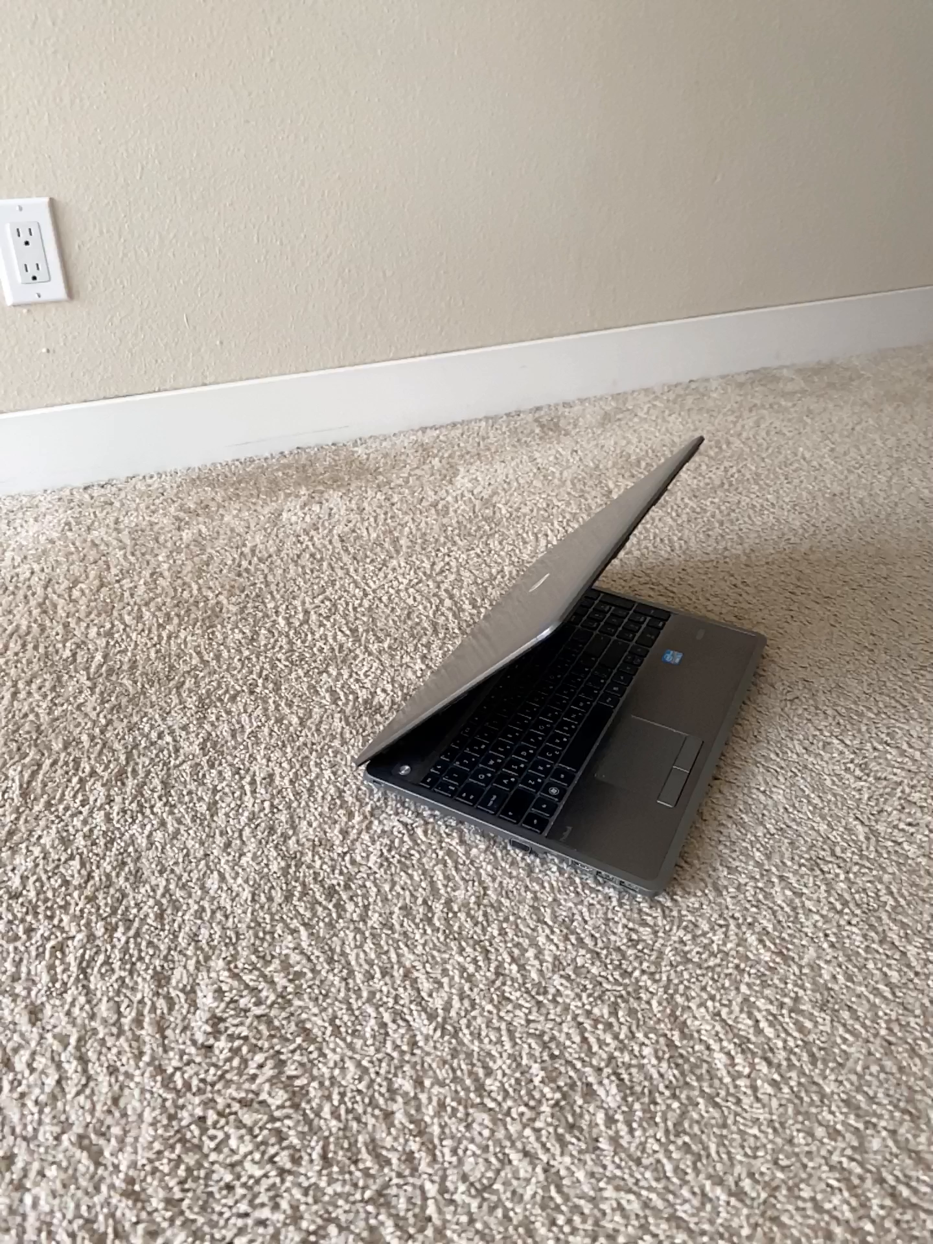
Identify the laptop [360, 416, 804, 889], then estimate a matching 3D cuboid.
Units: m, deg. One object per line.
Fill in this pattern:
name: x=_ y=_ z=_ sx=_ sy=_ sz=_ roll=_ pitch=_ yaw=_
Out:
laptop: x=0.114 y=-0.008 z=0.822 sx=0.254 sy=0.186 sz=0.370 roll=16 pitch=35 yaw=20
